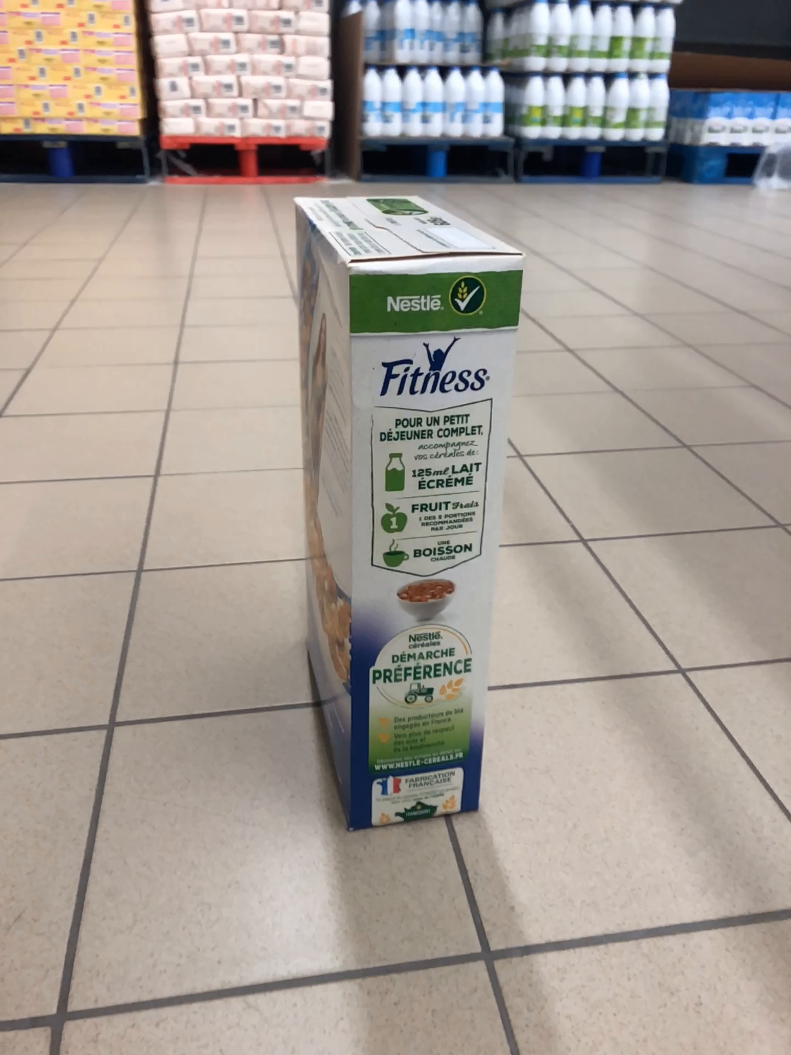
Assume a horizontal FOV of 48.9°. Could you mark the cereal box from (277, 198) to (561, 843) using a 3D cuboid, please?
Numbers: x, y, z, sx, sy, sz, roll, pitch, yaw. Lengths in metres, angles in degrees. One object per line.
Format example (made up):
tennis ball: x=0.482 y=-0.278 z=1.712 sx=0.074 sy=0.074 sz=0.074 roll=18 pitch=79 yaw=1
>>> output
cereal box: x=-0.006 y=-0.017 z=0.496 sx=0.090 sy=0.298 sz=0.211 roll=-5 pitch=27 yaw=-13
